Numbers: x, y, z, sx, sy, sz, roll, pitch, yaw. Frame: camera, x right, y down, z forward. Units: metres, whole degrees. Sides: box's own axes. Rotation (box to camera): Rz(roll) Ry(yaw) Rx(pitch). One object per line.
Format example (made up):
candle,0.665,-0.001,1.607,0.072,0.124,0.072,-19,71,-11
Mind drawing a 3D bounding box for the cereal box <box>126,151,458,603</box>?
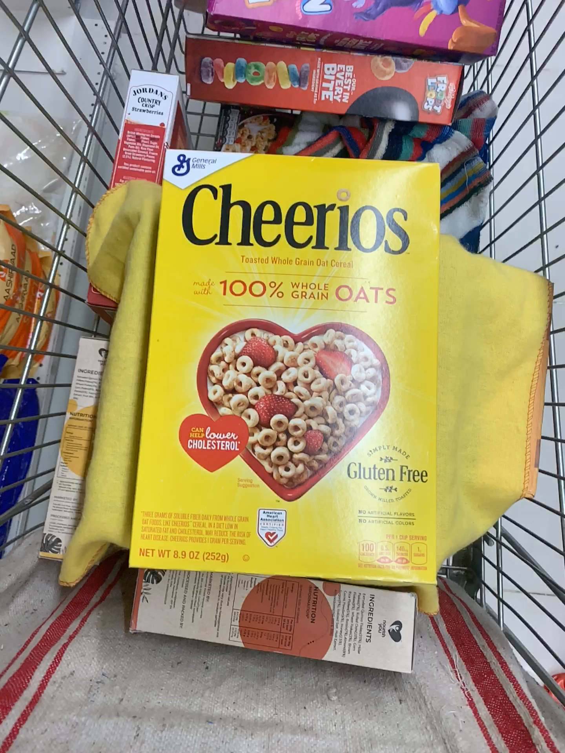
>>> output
cereal box,0.012,-0.004,0.382,0.190,0.060,0.270,3,81,1
